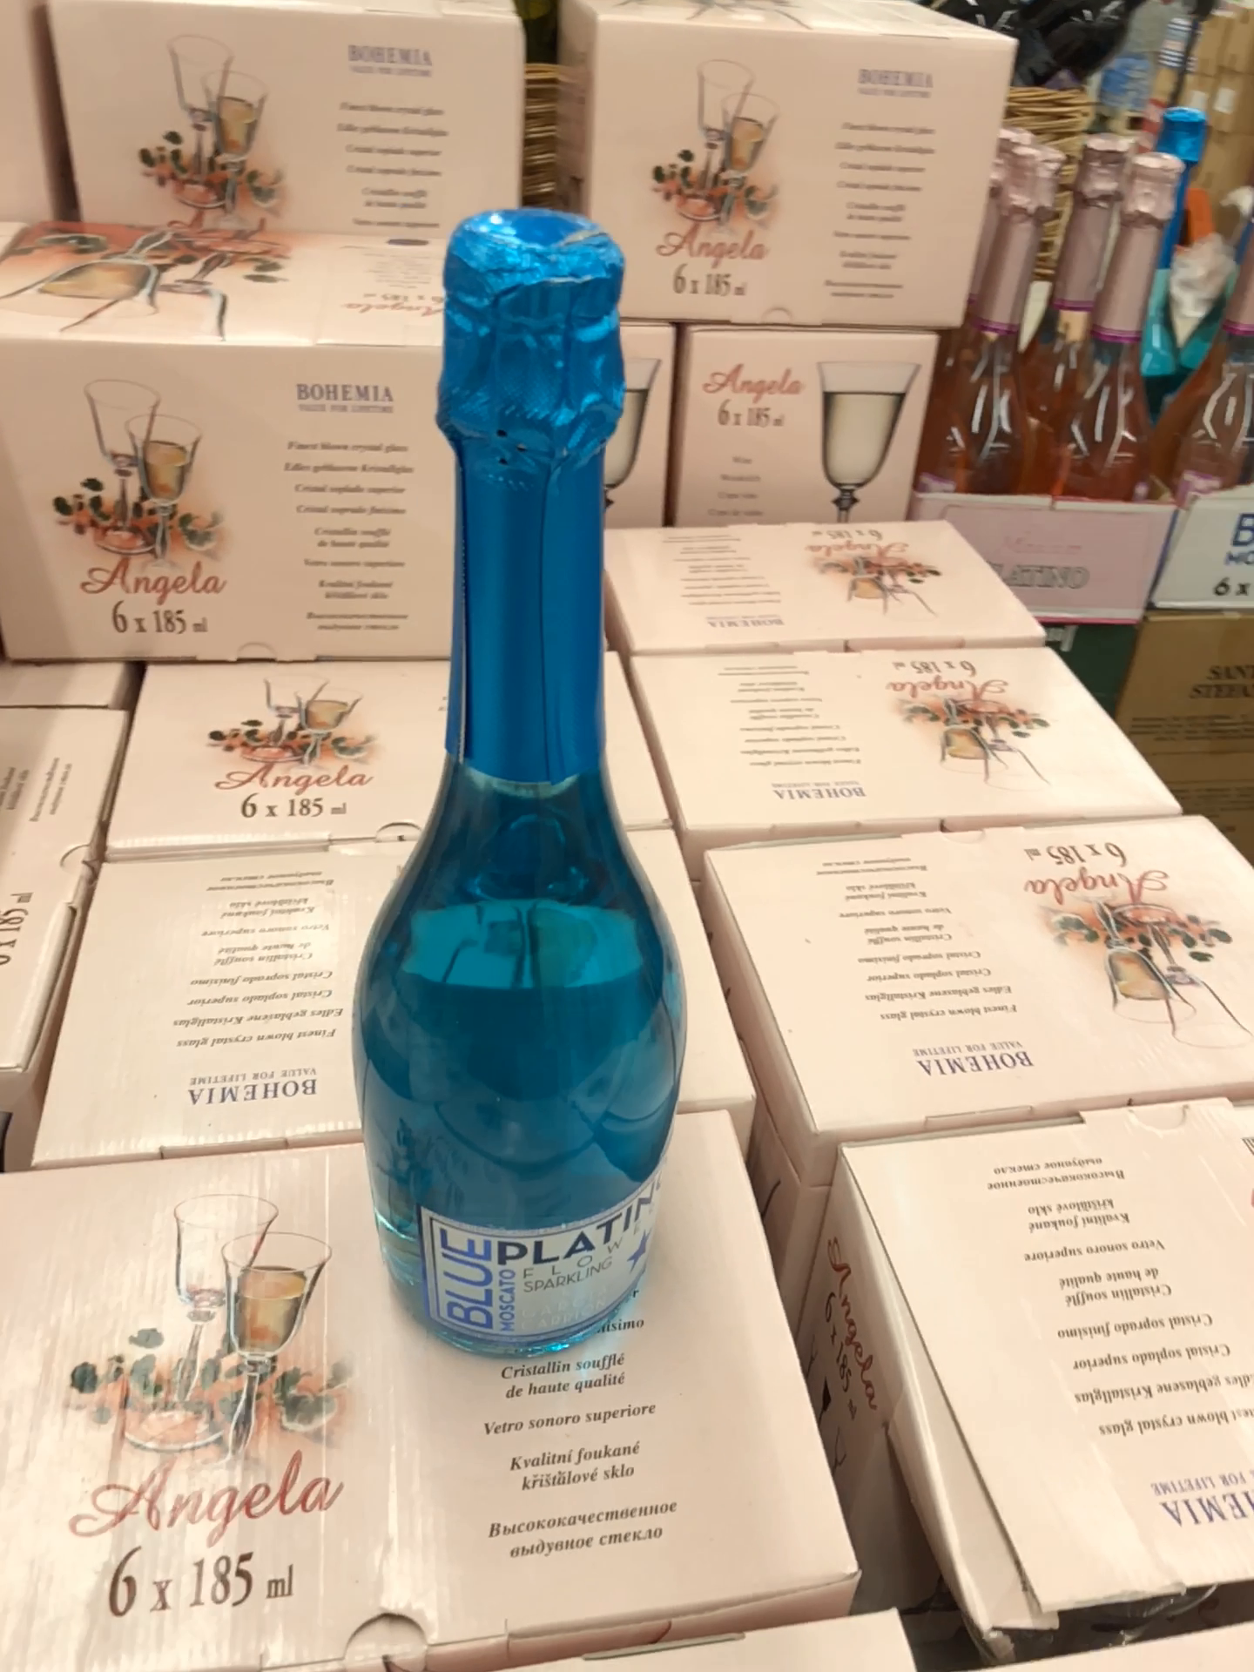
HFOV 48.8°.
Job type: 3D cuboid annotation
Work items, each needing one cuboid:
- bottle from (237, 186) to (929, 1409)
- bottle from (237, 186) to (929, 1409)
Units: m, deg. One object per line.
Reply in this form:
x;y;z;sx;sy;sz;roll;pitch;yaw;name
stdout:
-0.022;0.002;0.341;0.100;0.278;0.100;3;36;-2;bottle
-0.022;0.002;0.341;0.100;0.278;0.100;3;36;-2;bottle
